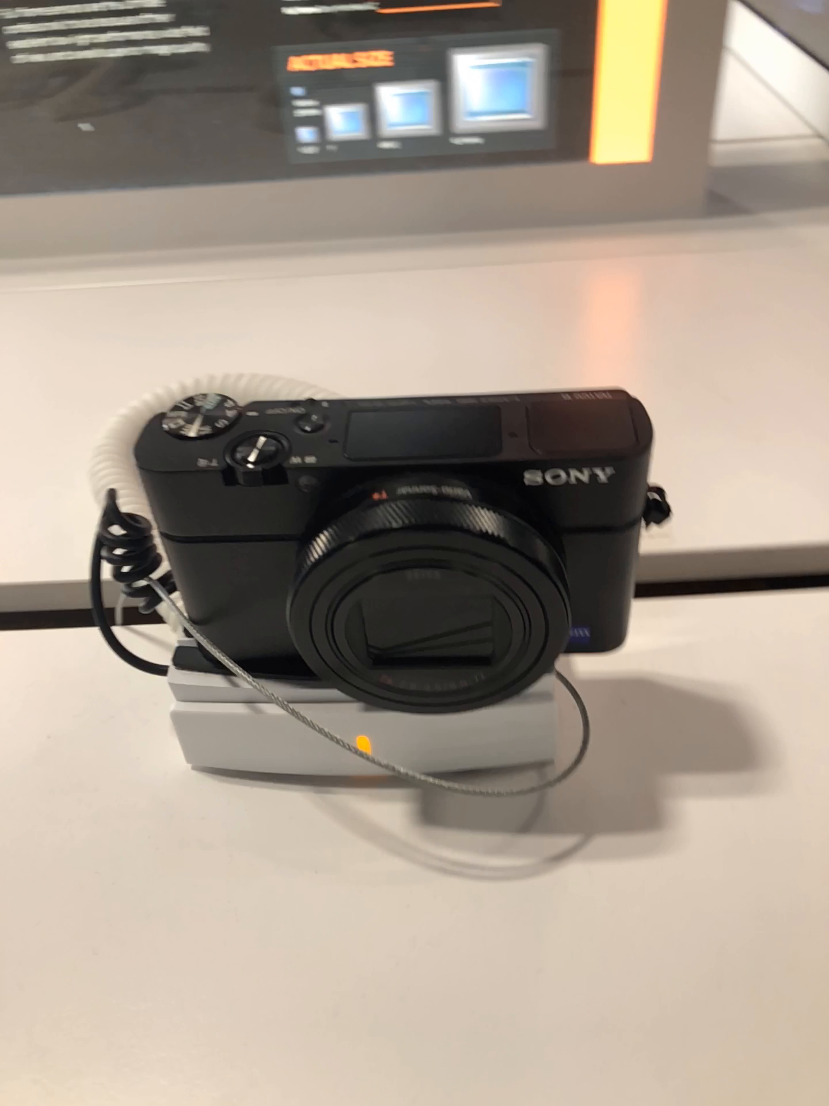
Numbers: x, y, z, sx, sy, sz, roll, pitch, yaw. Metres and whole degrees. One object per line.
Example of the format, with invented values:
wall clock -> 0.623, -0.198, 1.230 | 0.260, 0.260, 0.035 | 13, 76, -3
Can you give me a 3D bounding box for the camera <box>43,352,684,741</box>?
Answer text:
camera -> -0.007, 0.001, 0.195 | 0.110, 0.070, 0.040 | -2, 40, 3
